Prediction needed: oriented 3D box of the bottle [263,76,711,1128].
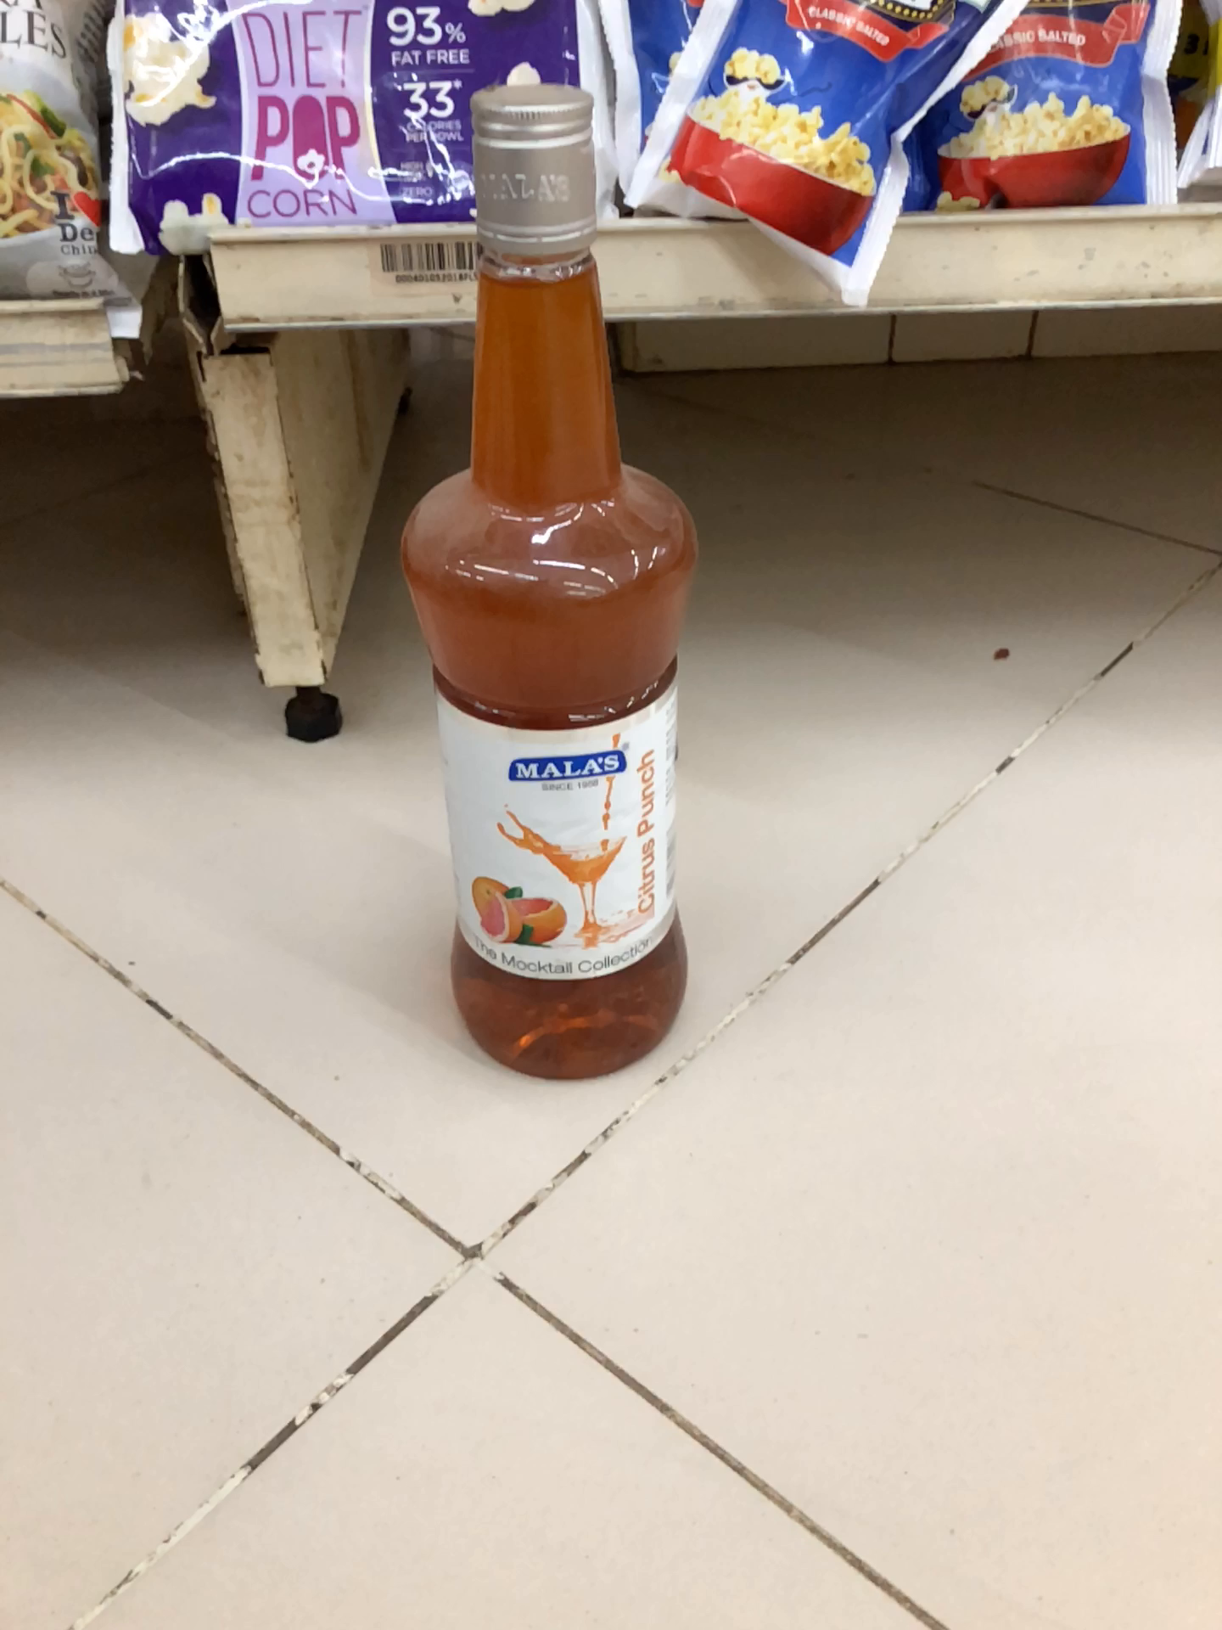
[{"bbox_3d":[-0.024,-0.044,0.395,0.090,0.288,0.091,-1,37,1],"label":"bottle"}]
